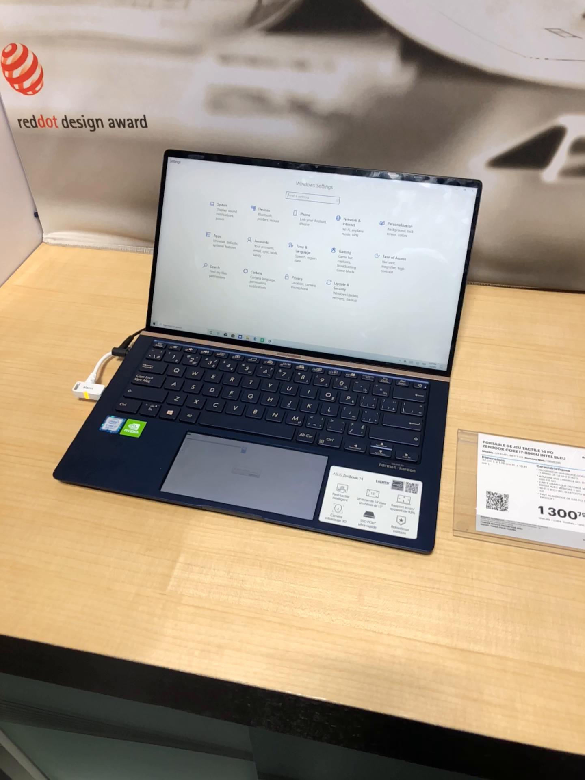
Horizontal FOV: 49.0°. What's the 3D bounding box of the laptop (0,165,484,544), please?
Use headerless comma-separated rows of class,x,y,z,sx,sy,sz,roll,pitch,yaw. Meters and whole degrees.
laptop,-0.012,-0.060,0.606,0.332,0.159,0.322,9,43,10
